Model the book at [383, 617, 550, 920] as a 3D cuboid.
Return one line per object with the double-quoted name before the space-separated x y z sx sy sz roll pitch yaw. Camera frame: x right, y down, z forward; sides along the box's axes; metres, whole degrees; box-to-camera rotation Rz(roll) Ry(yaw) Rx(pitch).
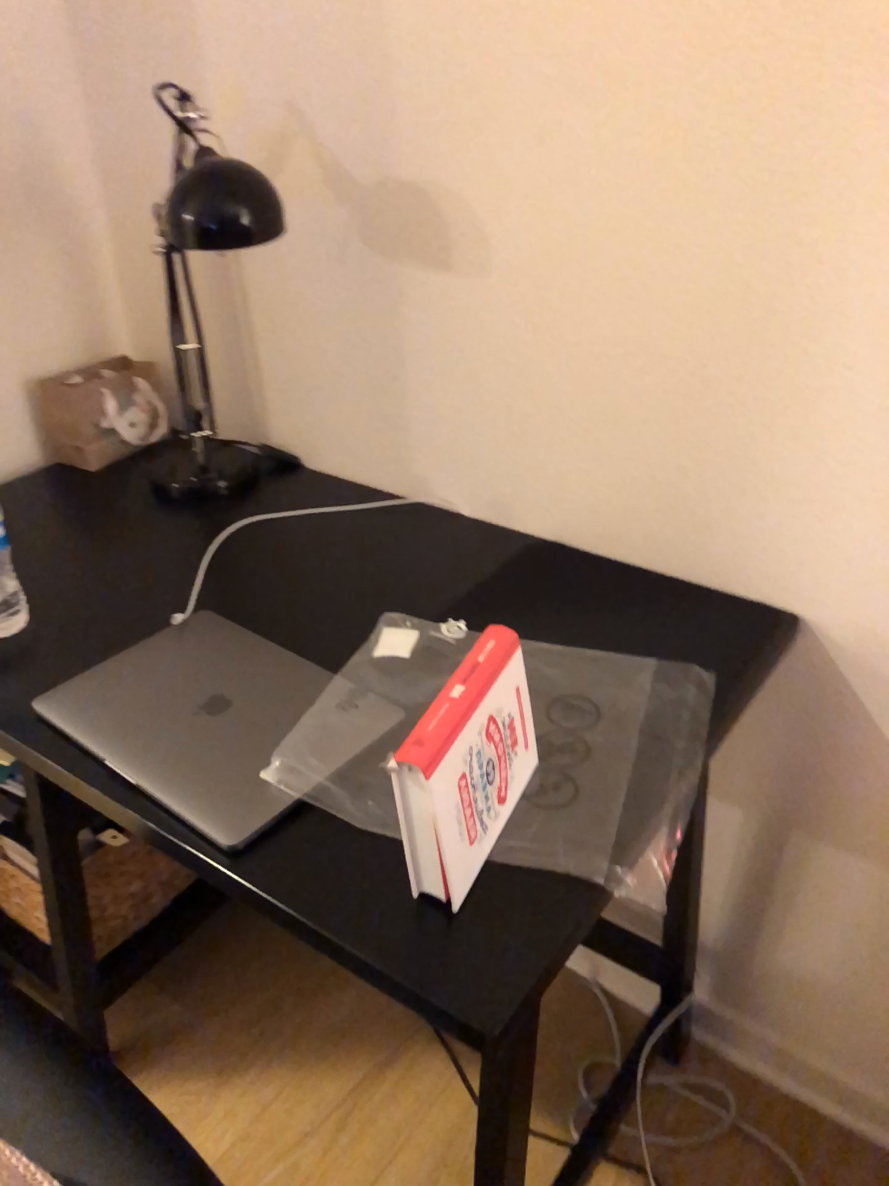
"book" 0.023 0.130 0.770 0.050 0.129 0.201 13 35 21
